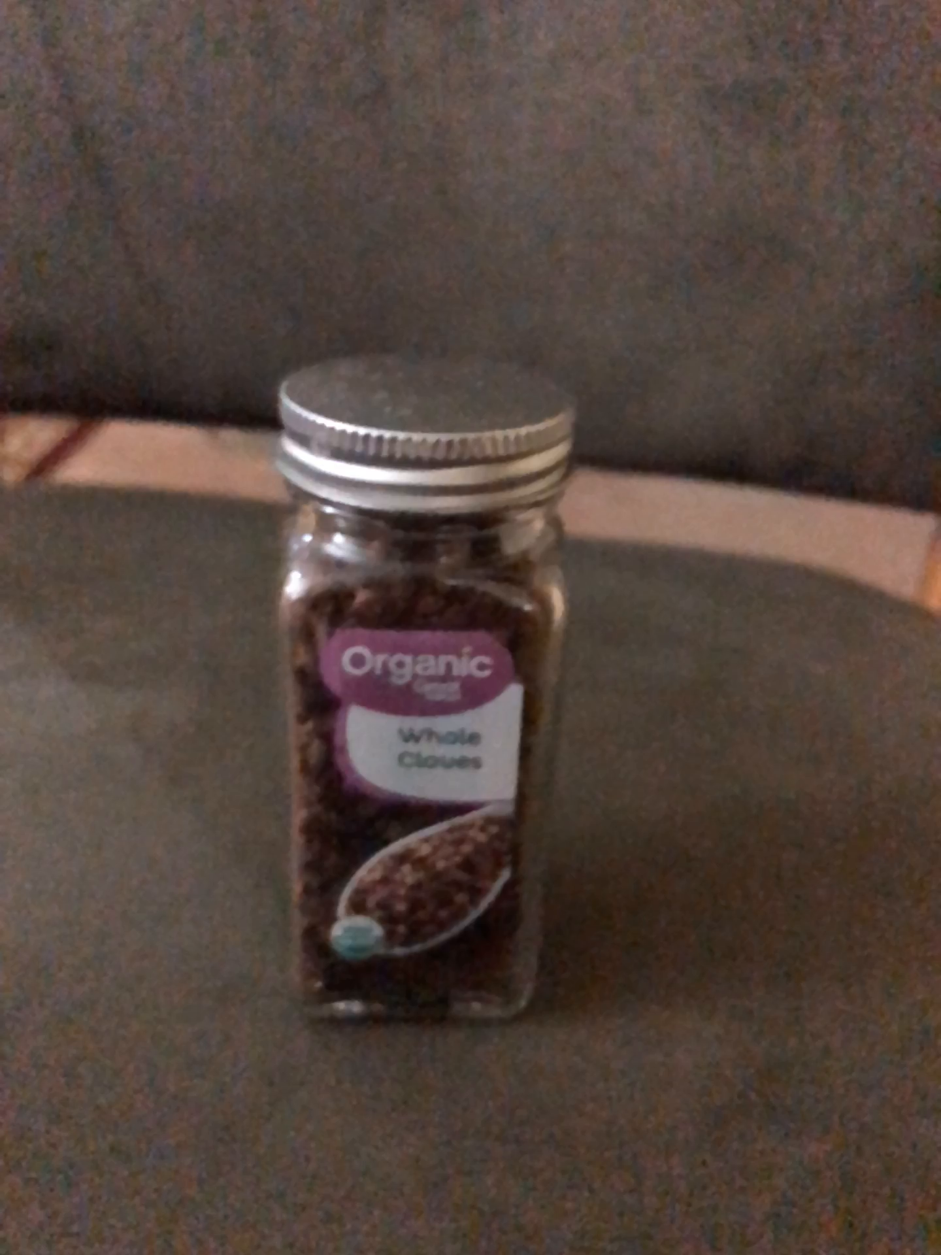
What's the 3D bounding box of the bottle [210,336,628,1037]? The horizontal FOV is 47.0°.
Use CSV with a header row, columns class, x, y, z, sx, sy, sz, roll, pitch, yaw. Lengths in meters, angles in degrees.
class,x,y,z,sx,sy,sz,roll,pitch,yaw
bottle,-0.007,0.010,0.175,0.050,0.100,0.050,2,28,-1
